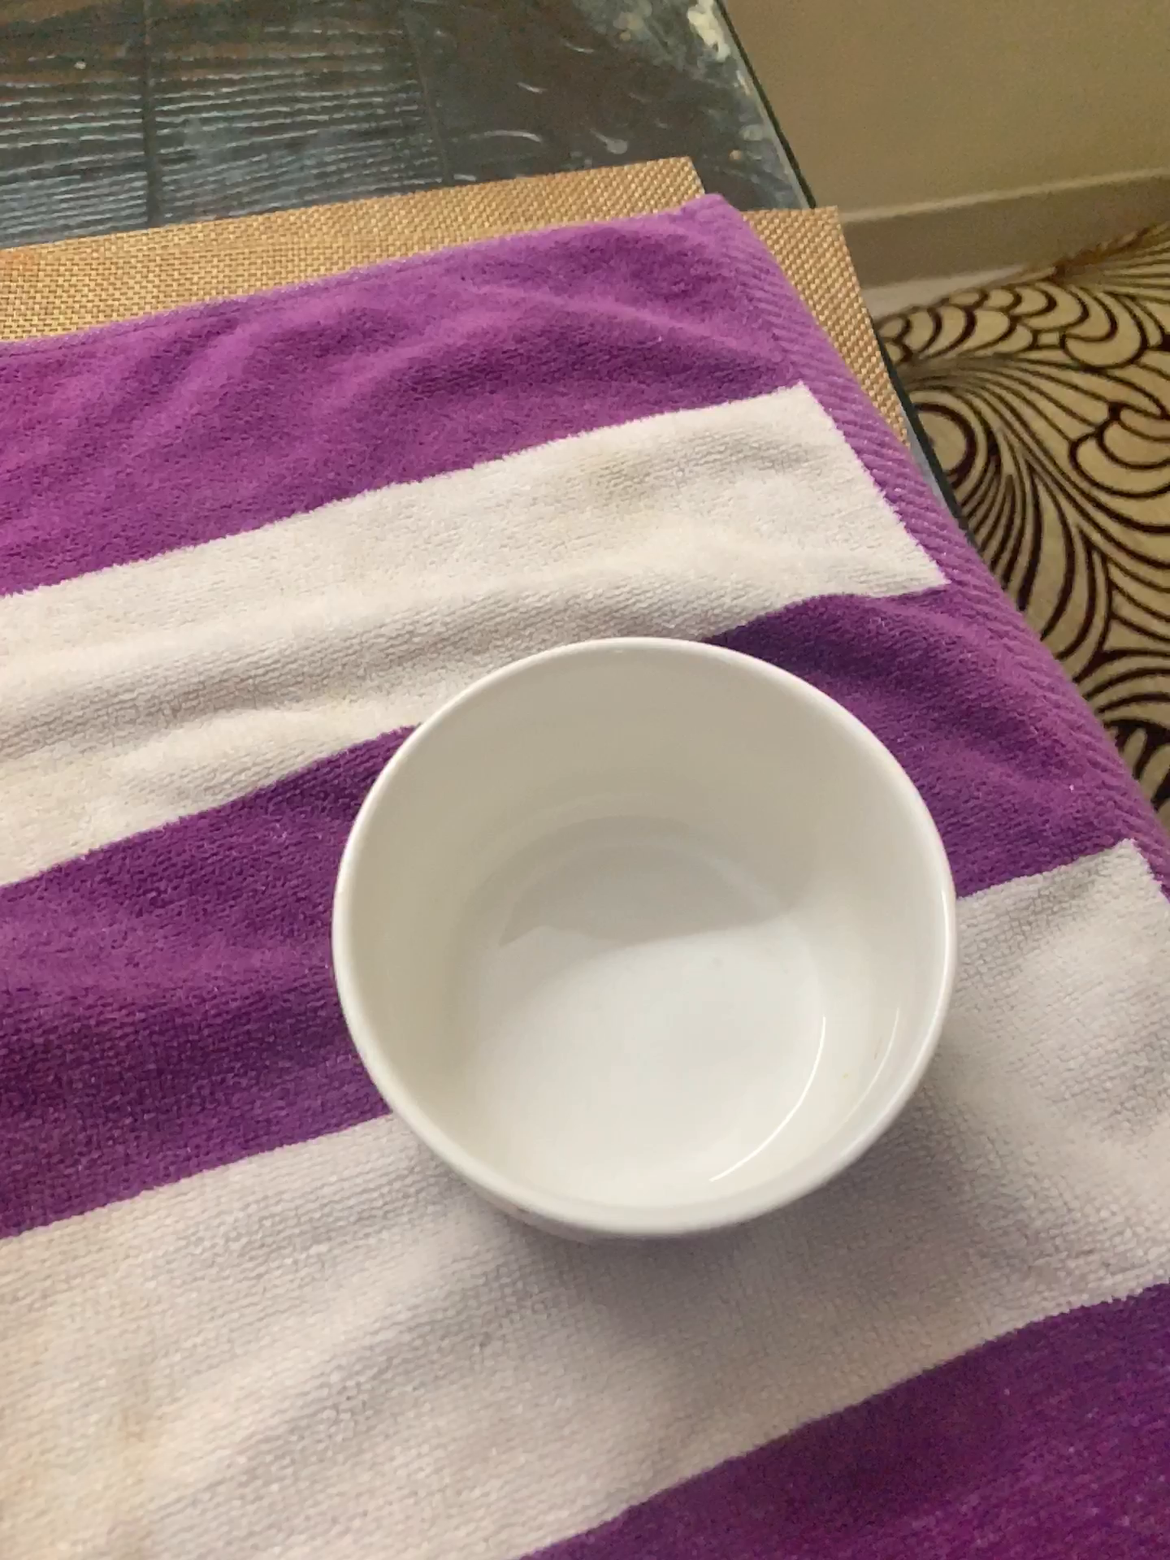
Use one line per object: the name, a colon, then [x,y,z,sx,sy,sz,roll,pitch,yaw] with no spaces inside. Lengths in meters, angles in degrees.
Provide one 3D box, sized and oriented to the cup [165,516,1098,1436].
cup: [0.001,0.028,0.201,0.100,0.050,0.110,-21,64,-12]
